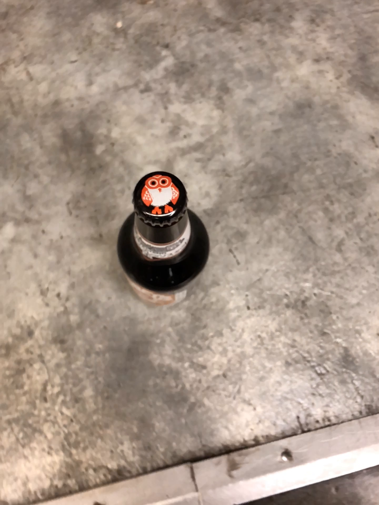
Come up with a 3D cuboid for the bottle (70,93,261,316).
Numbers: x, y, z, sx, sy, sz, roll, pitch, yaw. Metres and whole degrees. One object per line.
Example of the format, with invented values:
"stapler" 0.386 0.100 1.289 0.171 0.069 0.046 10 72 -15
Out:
"bottle" -0.013 -0.012 0.288 0.063 0.181 0.069 0 75 -2
